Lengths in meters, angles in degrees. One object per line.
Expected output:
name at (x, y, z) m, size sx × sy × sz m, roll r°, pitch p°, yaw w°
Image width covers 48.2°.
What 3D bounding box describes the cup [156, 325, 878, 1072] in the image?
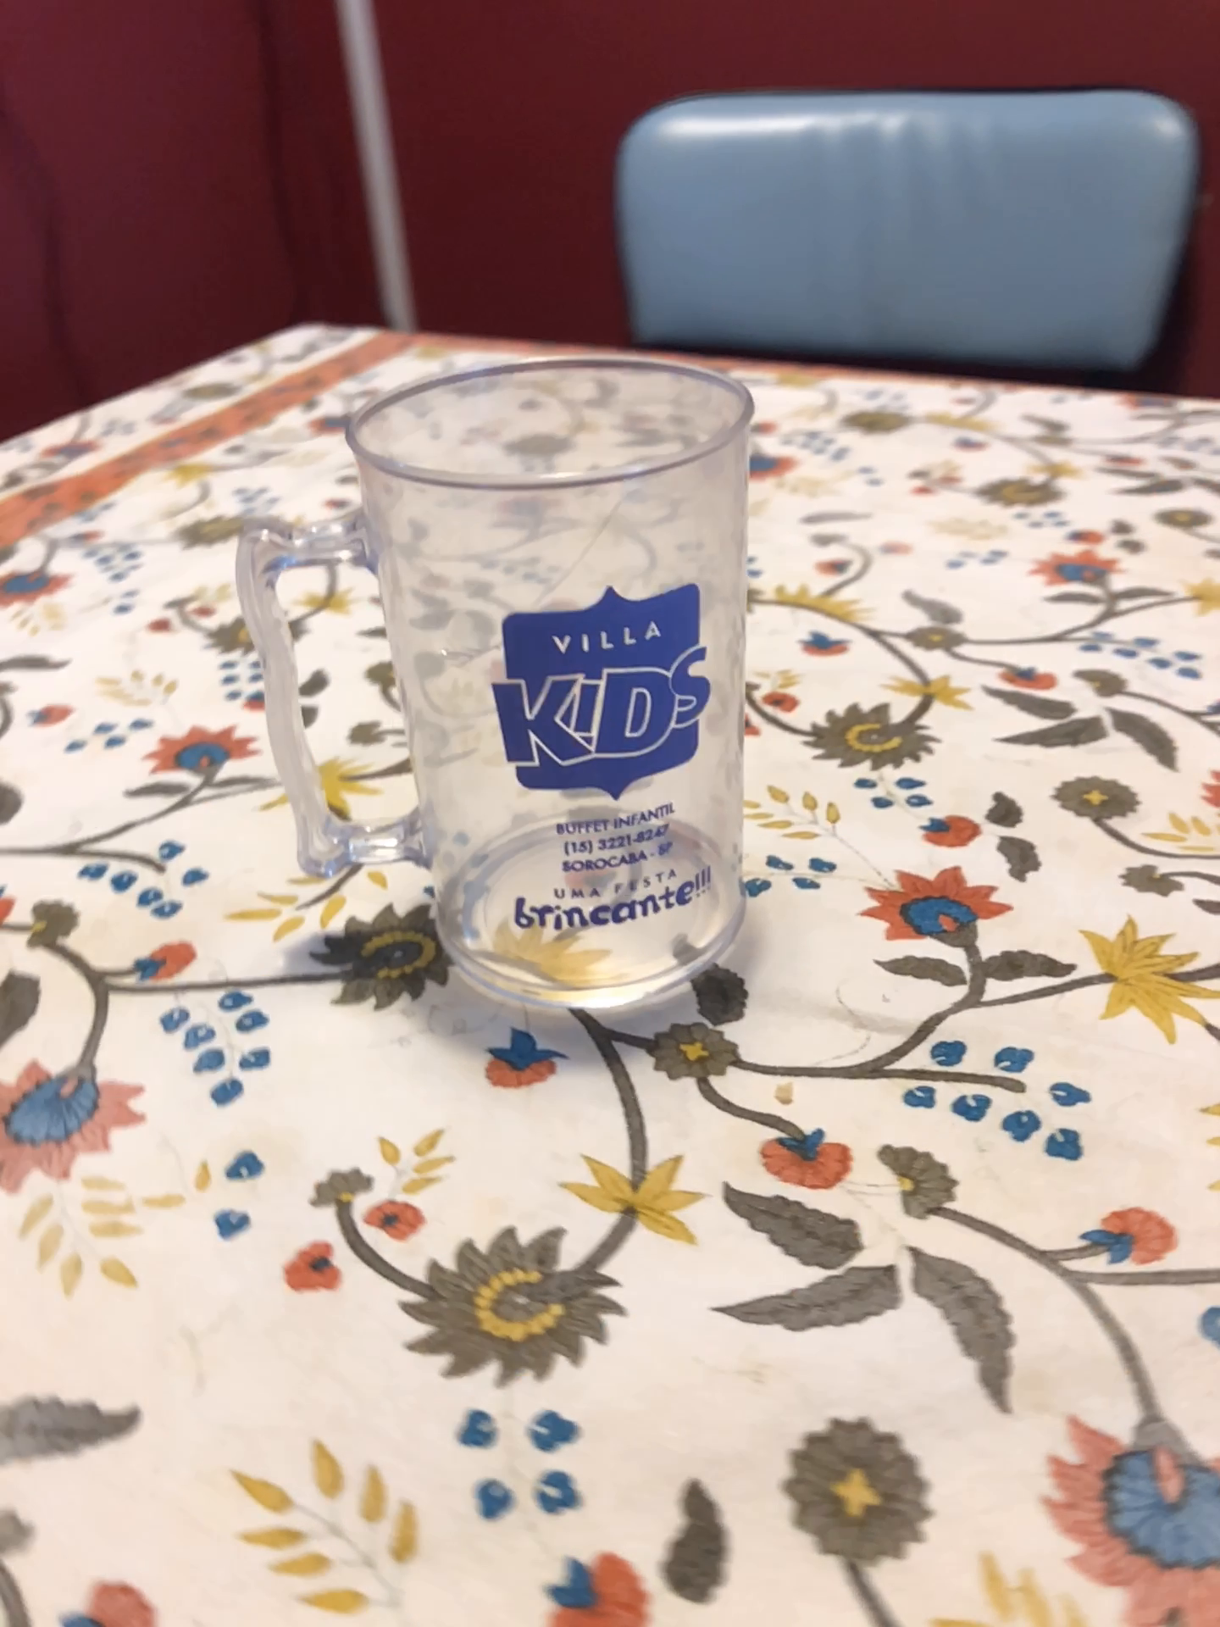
cup at (-0.016, -0.025, 0.269) m, size 0.110 × 0.109 × 0.081 m, roll -8°, pitch 32°, yaw -6°
